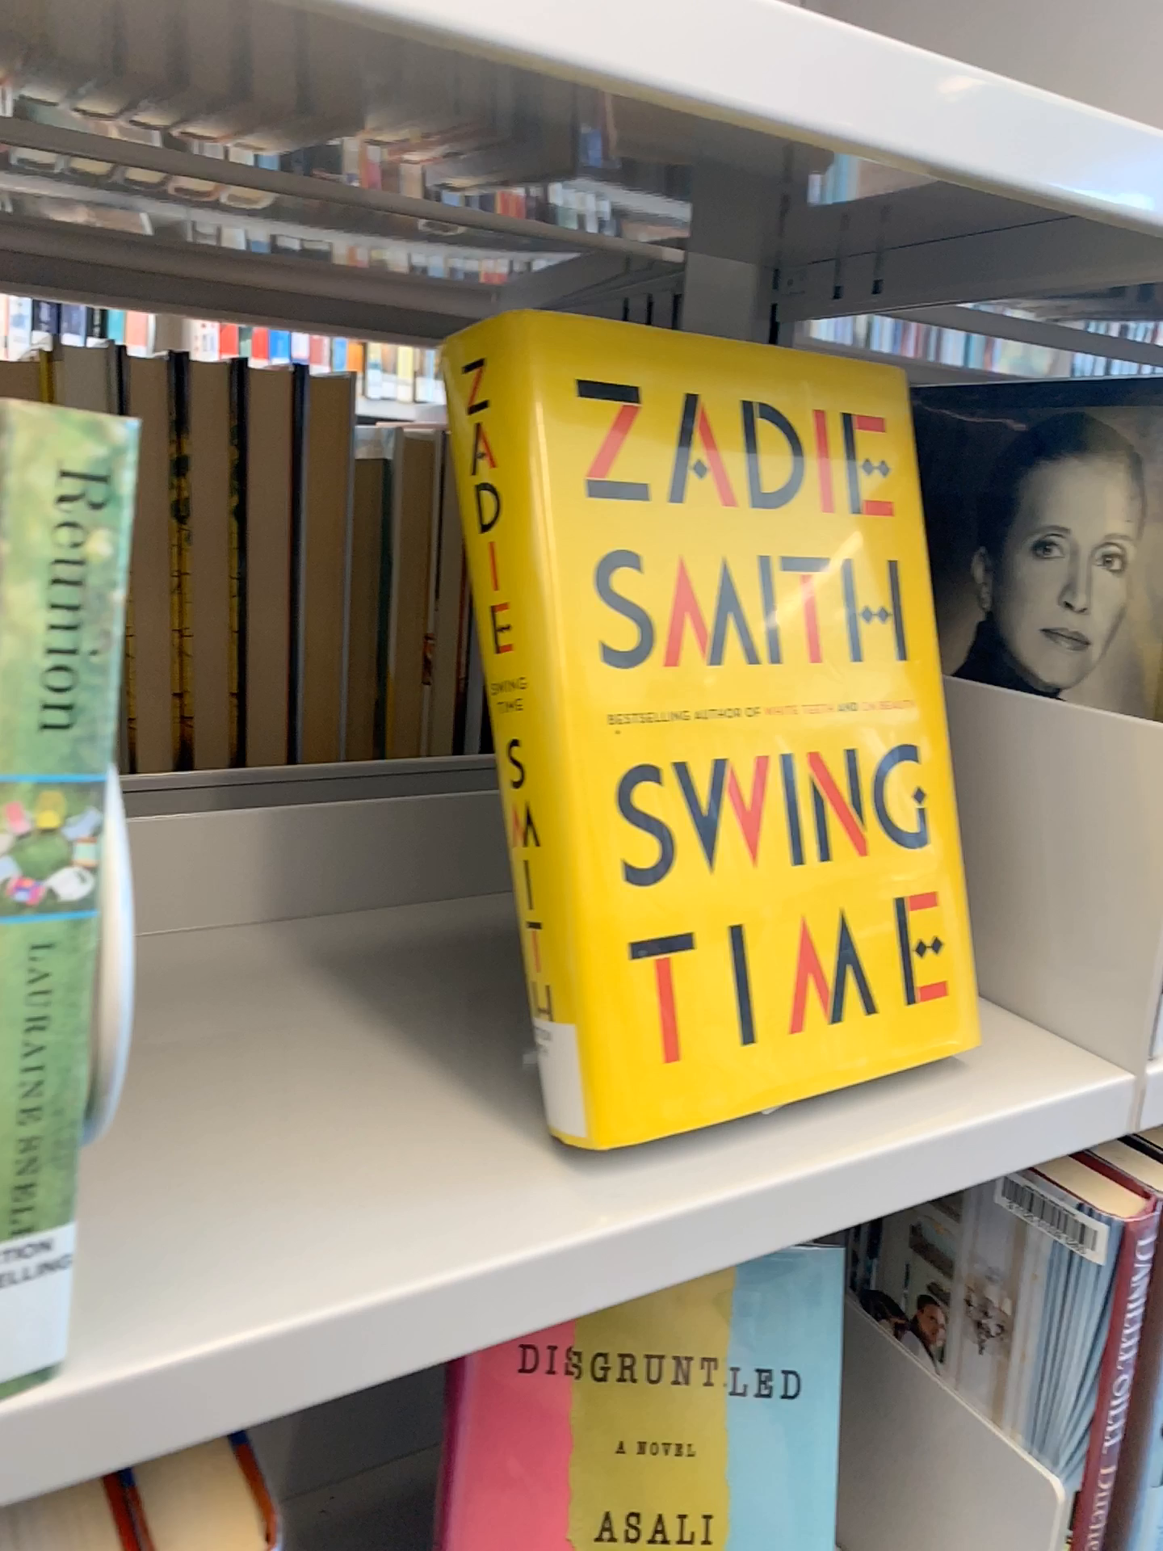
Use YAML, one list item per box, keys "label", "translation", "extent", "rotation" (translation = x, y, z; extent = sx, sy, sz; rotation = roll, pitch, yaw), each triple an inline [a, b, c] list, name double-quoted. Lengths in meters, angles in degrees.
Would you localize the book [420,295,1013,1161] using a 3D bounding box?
- label: "book"
  translation: [0.048, -0.018, 0.390]
  extent: [0.168, 0.233, 0.060]
  rotation: [-4, -3, -33]
